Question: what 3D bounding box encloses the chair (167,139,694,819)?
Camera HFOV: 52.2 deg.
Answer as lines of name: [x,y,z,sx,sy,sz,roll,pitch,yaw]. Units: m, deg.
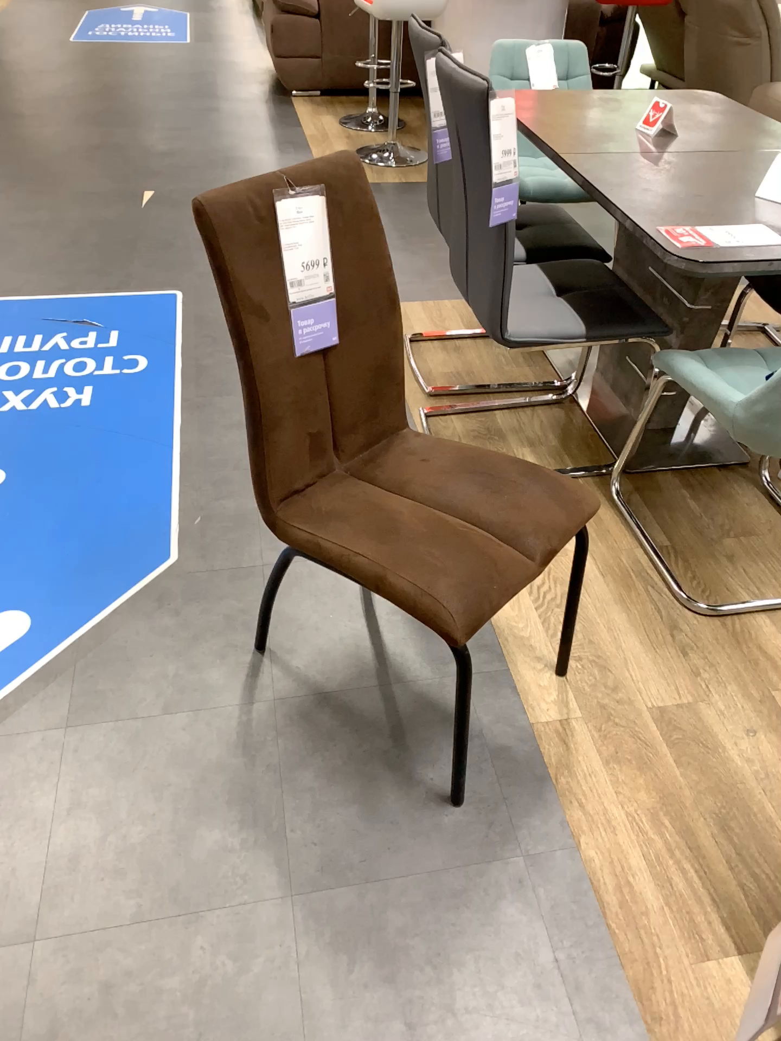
chair: [0.037,-0.060,1.417,0.591,0.965,0.442,28,46,27]
